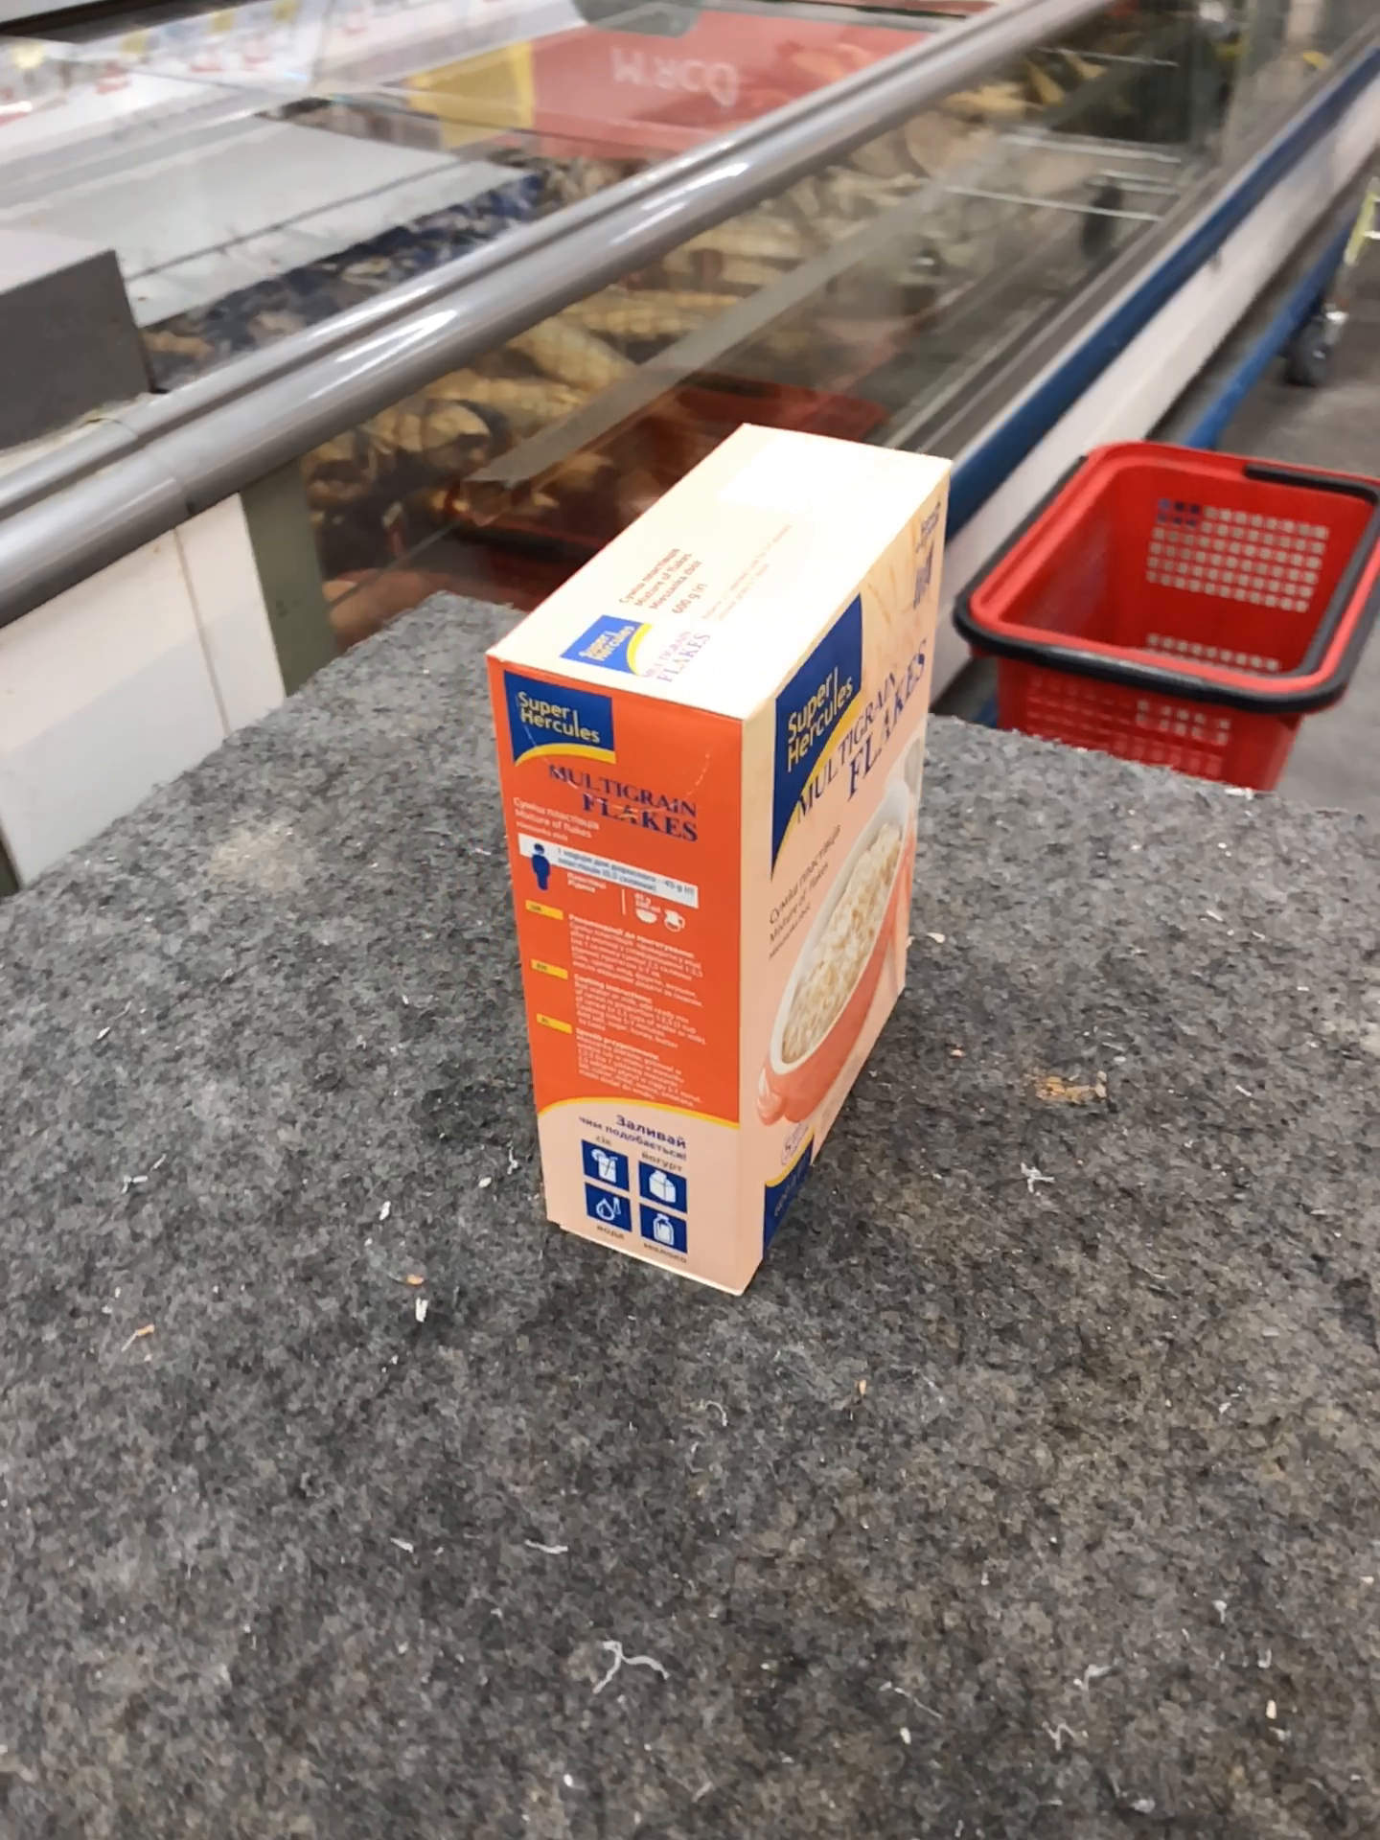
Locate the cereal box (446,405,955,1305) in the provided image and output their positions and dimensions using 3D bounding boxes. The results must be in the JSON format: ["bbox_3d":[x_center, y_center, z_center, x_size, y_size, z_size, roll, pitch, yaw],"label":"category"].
[{"bbox_3d":[0.011,-0.020,0.438,0.070,0.199,0.151,15,42,19],"label":"cereal box"}]
